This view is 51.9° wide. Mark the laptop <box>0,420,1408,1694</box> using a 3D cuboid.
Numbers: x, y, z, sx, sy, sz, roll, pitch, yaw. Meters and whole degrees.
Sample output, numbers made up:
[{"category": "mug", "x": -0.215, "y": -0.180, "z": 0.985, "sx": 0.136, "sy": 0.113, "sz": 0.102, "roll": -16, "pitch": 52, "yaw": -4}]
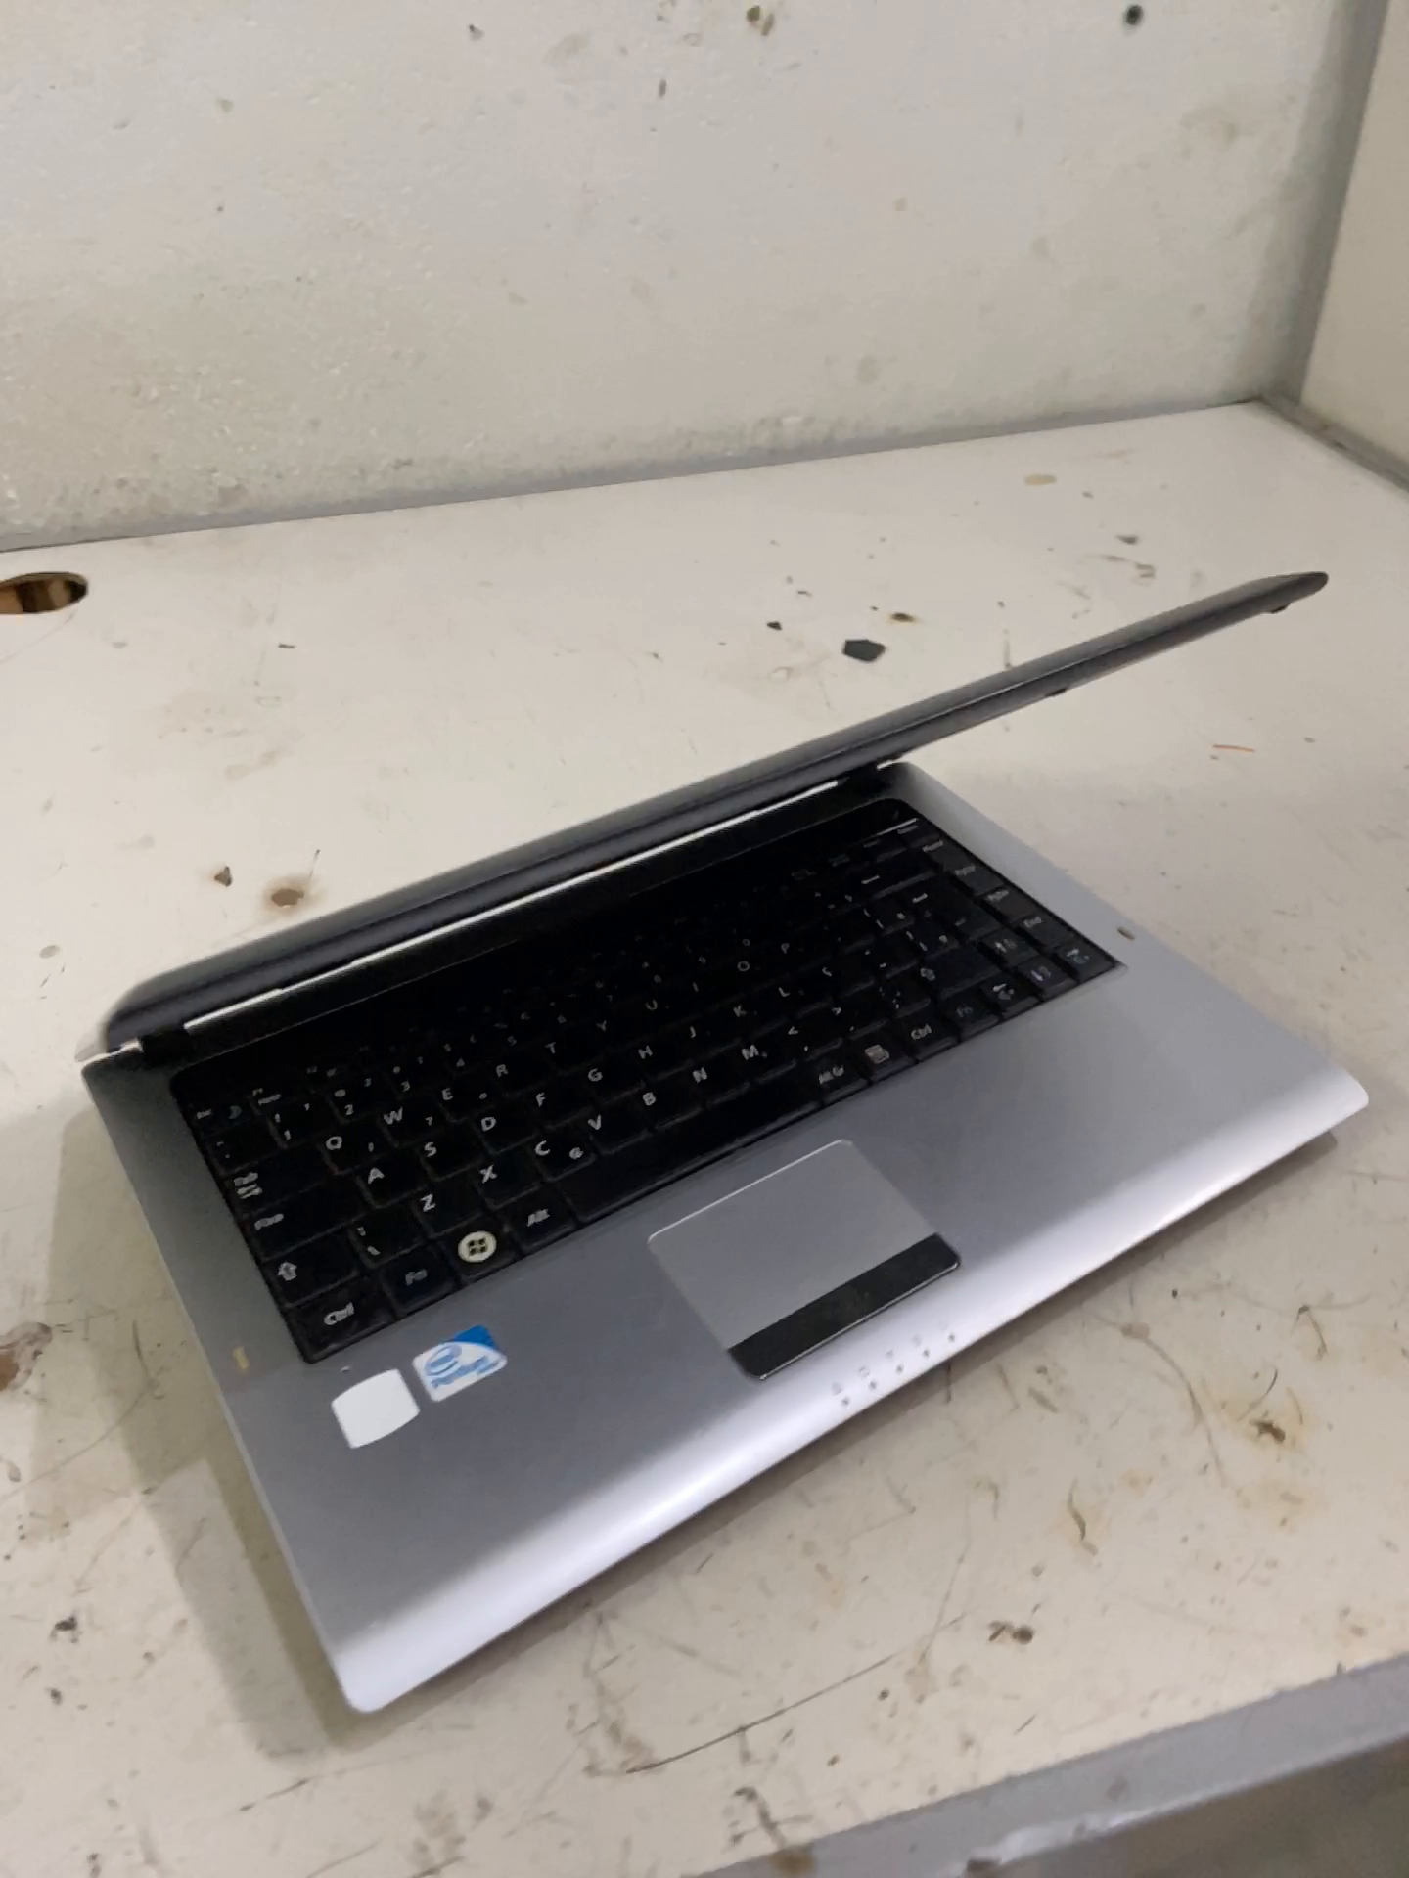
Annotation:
[{"category": "laptop", "x": 0.004, "y": -0.013, "z": 0.425, "sx": 0.334, "sy": 0.152, "sz": 0.241, "roll": -22, "pitch": 42, "yaw": -25}]
